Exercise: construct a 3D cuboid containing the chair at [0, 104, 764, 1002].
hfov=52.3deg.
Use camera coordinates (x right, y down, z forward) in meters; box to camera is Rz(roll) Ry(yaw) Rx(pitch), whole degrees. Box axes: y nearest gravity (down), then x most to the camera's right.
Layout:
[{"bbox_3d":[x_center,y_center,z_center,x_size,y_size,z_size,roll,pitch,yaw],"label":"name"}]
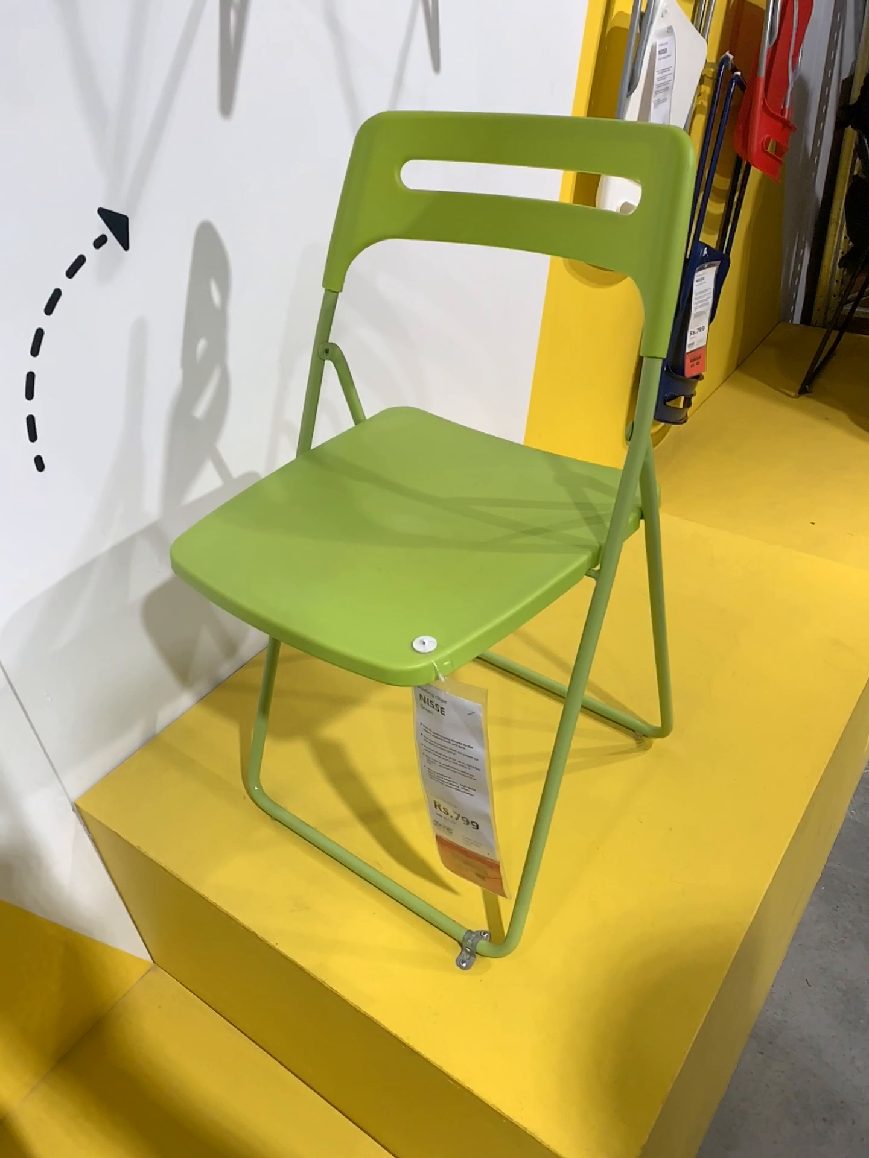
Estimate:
[{"bbox_3d":[-0.011,-0.049,0.936,0.451,0.717,0.461,22,45,32],"label":"chair"}]
